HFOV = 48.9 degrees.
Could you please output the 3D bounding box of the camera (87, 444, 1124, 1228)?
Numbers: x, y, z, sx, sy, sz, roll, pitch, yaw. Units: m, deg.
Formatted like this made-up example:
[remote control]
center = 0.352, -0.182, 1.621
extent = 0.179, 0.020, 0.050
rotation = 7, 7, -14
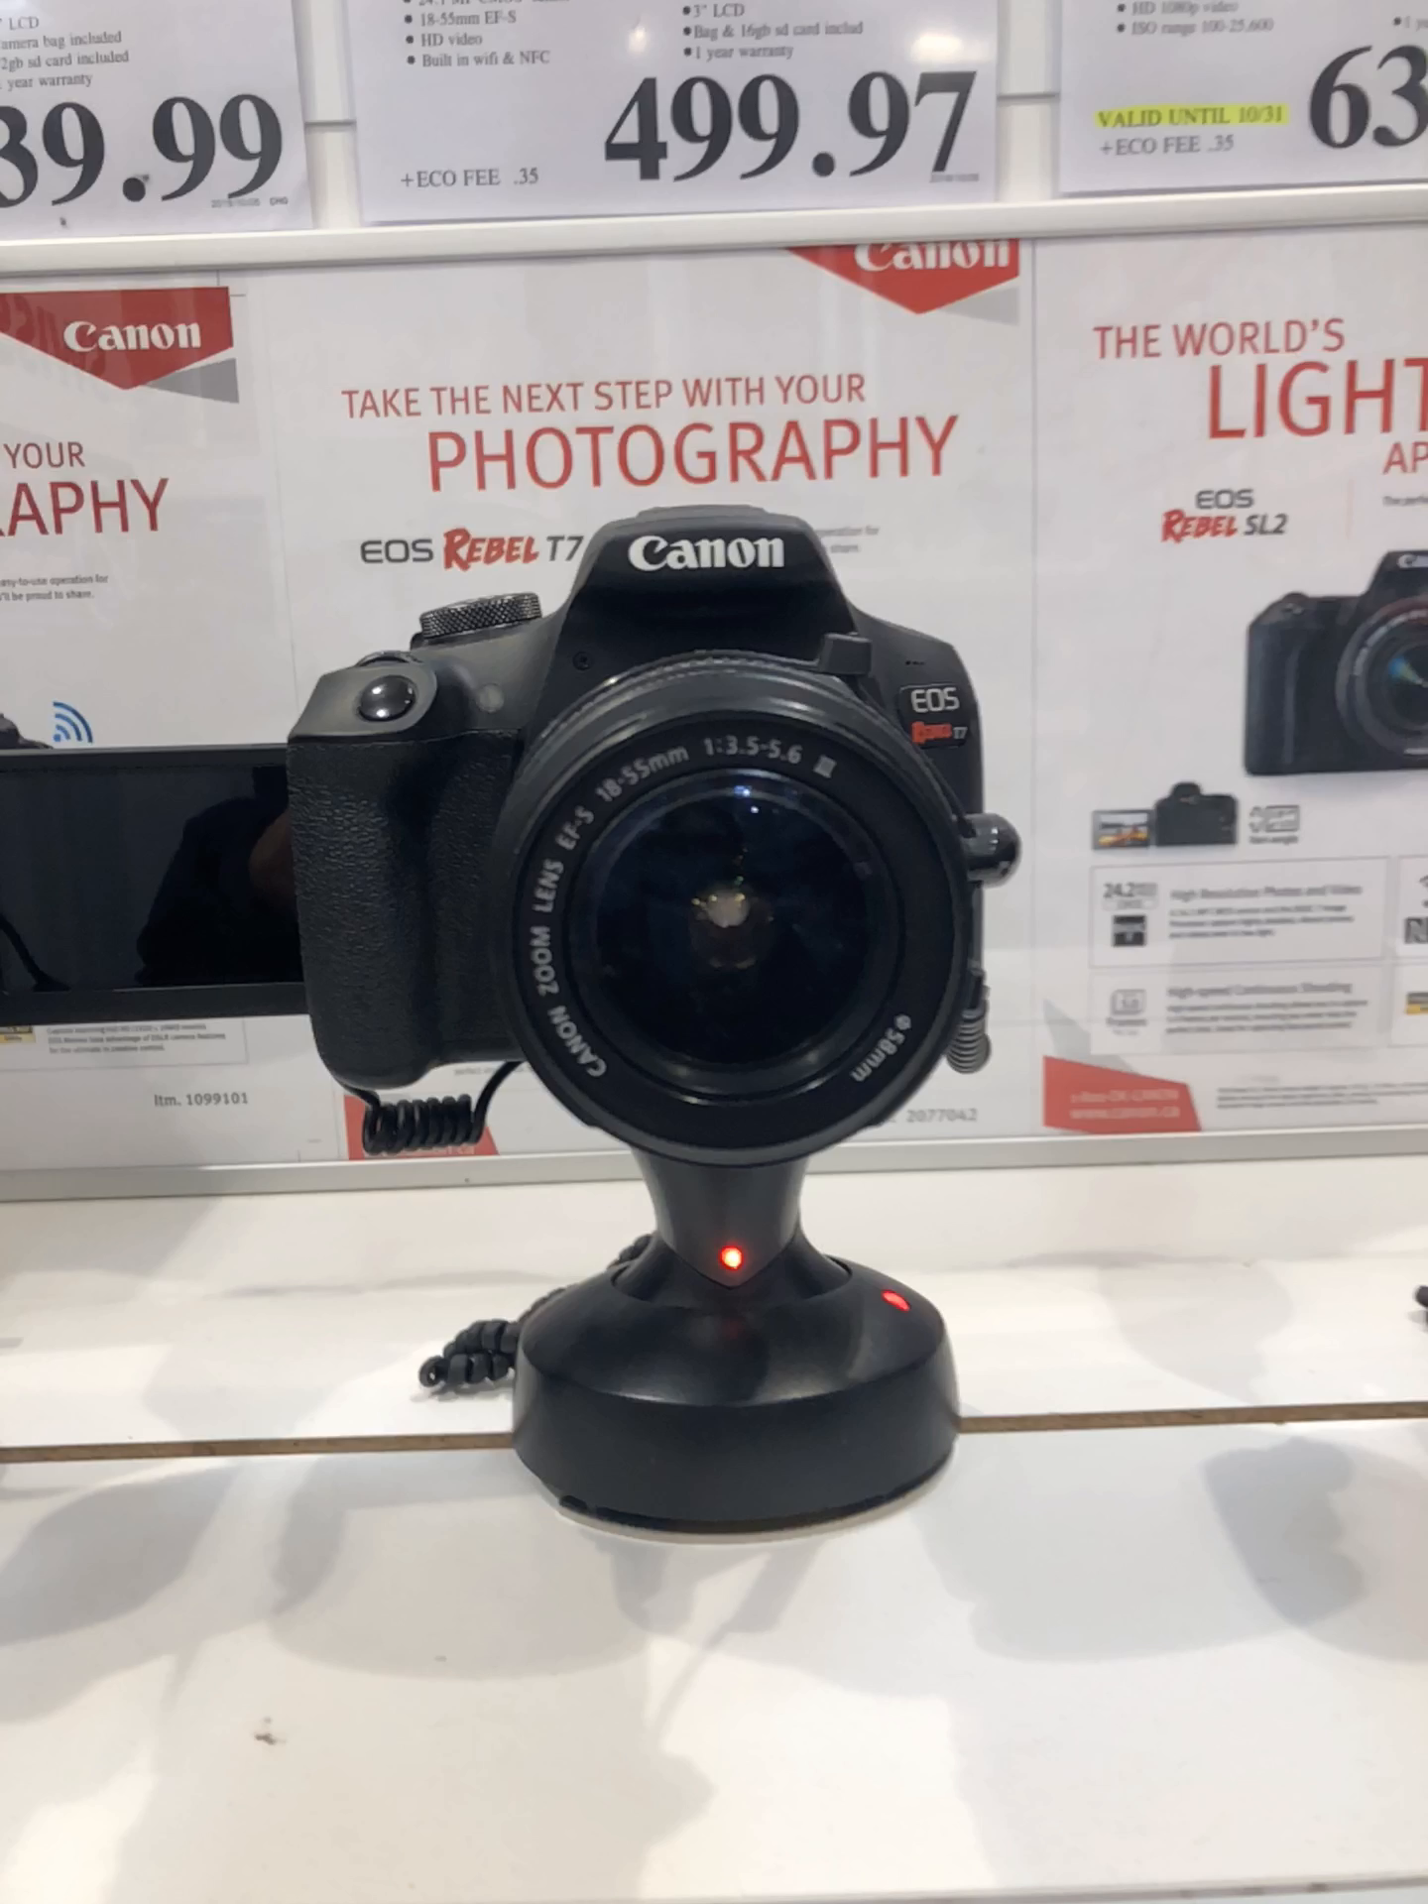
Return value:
[camera]
center = -0.011, -0.027, 0.275
extent = 0.130, 0.100, 0.140
rotation = -1, 12, 2
